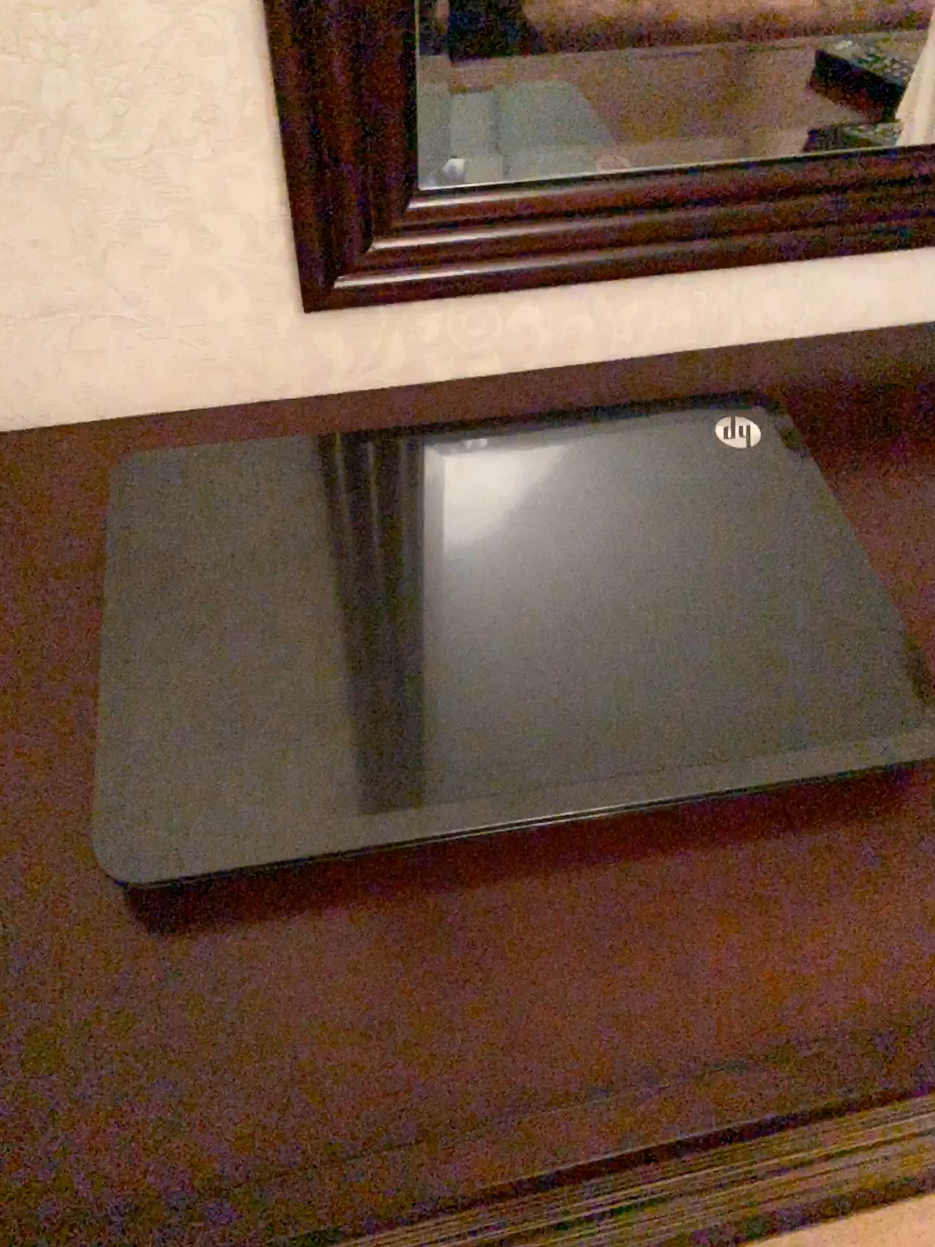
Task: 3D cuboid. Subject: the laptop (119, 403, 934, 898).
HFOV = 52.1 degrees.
[{"bbox_3d":[0.019,-0.012,0.445,0.341,0.007,0.224,-7,54,-11],"label":"laptop"}]
